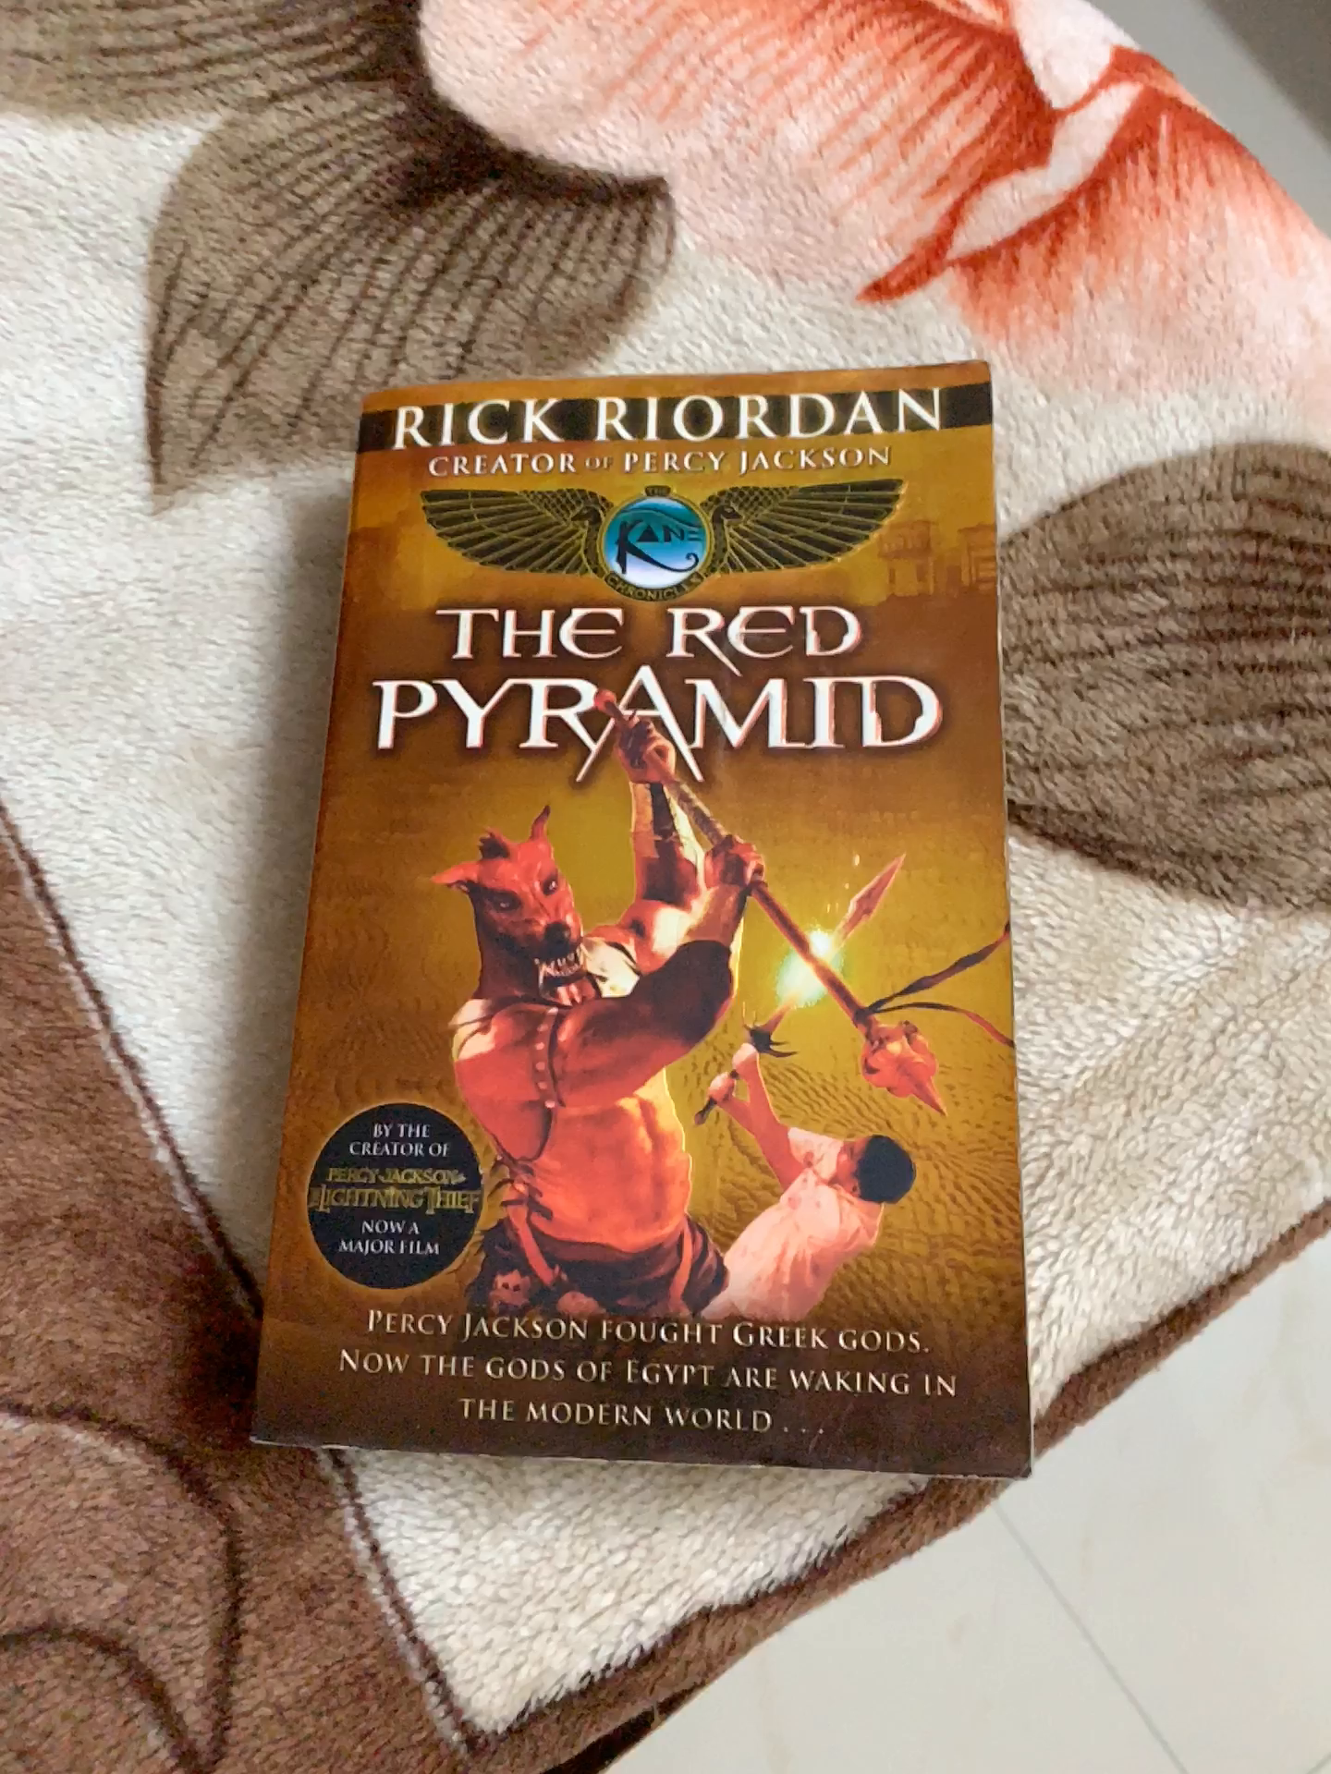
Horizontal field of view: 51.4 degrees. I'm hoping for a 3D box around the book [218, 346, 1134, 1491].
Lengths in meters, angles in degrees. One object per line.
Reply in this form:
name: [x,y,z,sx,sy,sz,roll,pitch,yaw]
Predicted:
book: [0.004,-0.003,0.279,0.150,0.040,0.220,1,72,3]
